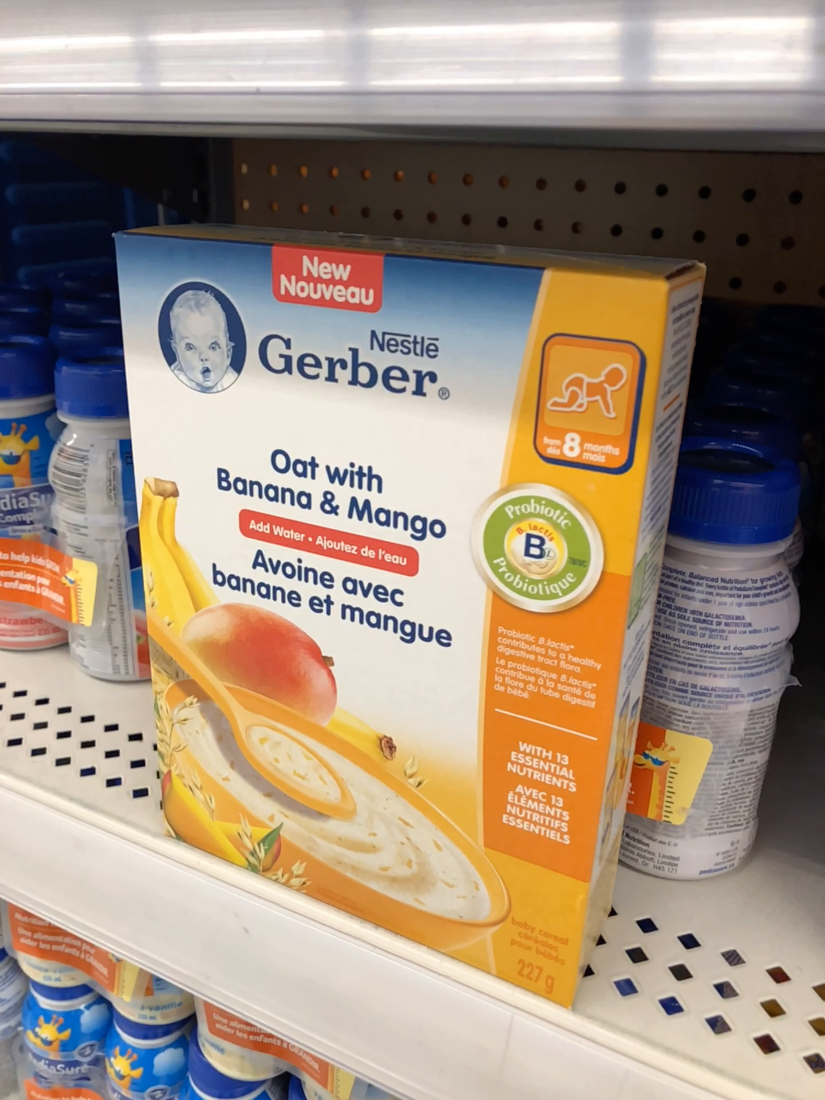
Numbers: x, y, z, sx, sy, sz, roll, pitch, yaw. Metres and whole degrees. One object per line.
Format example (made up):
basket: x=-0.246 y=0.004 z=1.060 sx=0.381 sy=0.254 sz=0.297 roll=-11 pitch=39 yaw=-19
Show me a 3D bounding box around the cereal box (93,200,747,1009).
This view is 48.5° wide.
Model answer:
cereal box: x=-0.007 y=0.011 z=0.250 sx=0.150 sy=0.189 sz=0.040 roll=14 pitch=26 yaw=24
